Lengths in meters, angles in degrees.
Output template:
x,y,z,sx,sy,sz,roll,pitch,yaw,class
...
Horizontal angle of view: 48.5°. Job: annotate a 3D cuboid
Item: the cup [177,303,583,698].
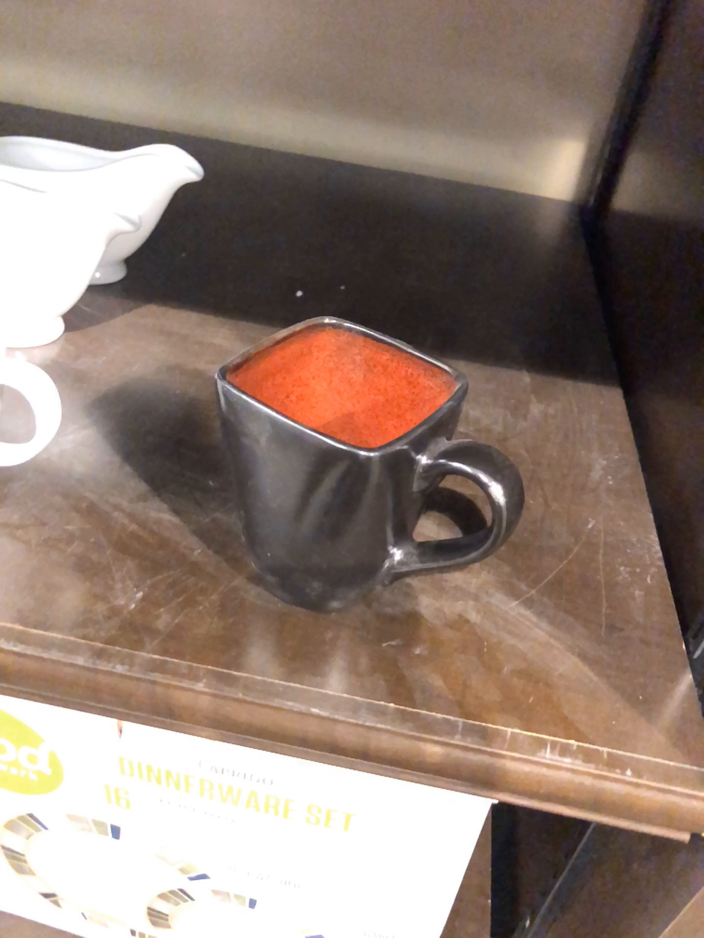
x,y,z,sx,sy,sz,roll,pitch,yaw,class
0.007,0.004,0.319,0.123,0.083,0.095,28,39,24,cup
